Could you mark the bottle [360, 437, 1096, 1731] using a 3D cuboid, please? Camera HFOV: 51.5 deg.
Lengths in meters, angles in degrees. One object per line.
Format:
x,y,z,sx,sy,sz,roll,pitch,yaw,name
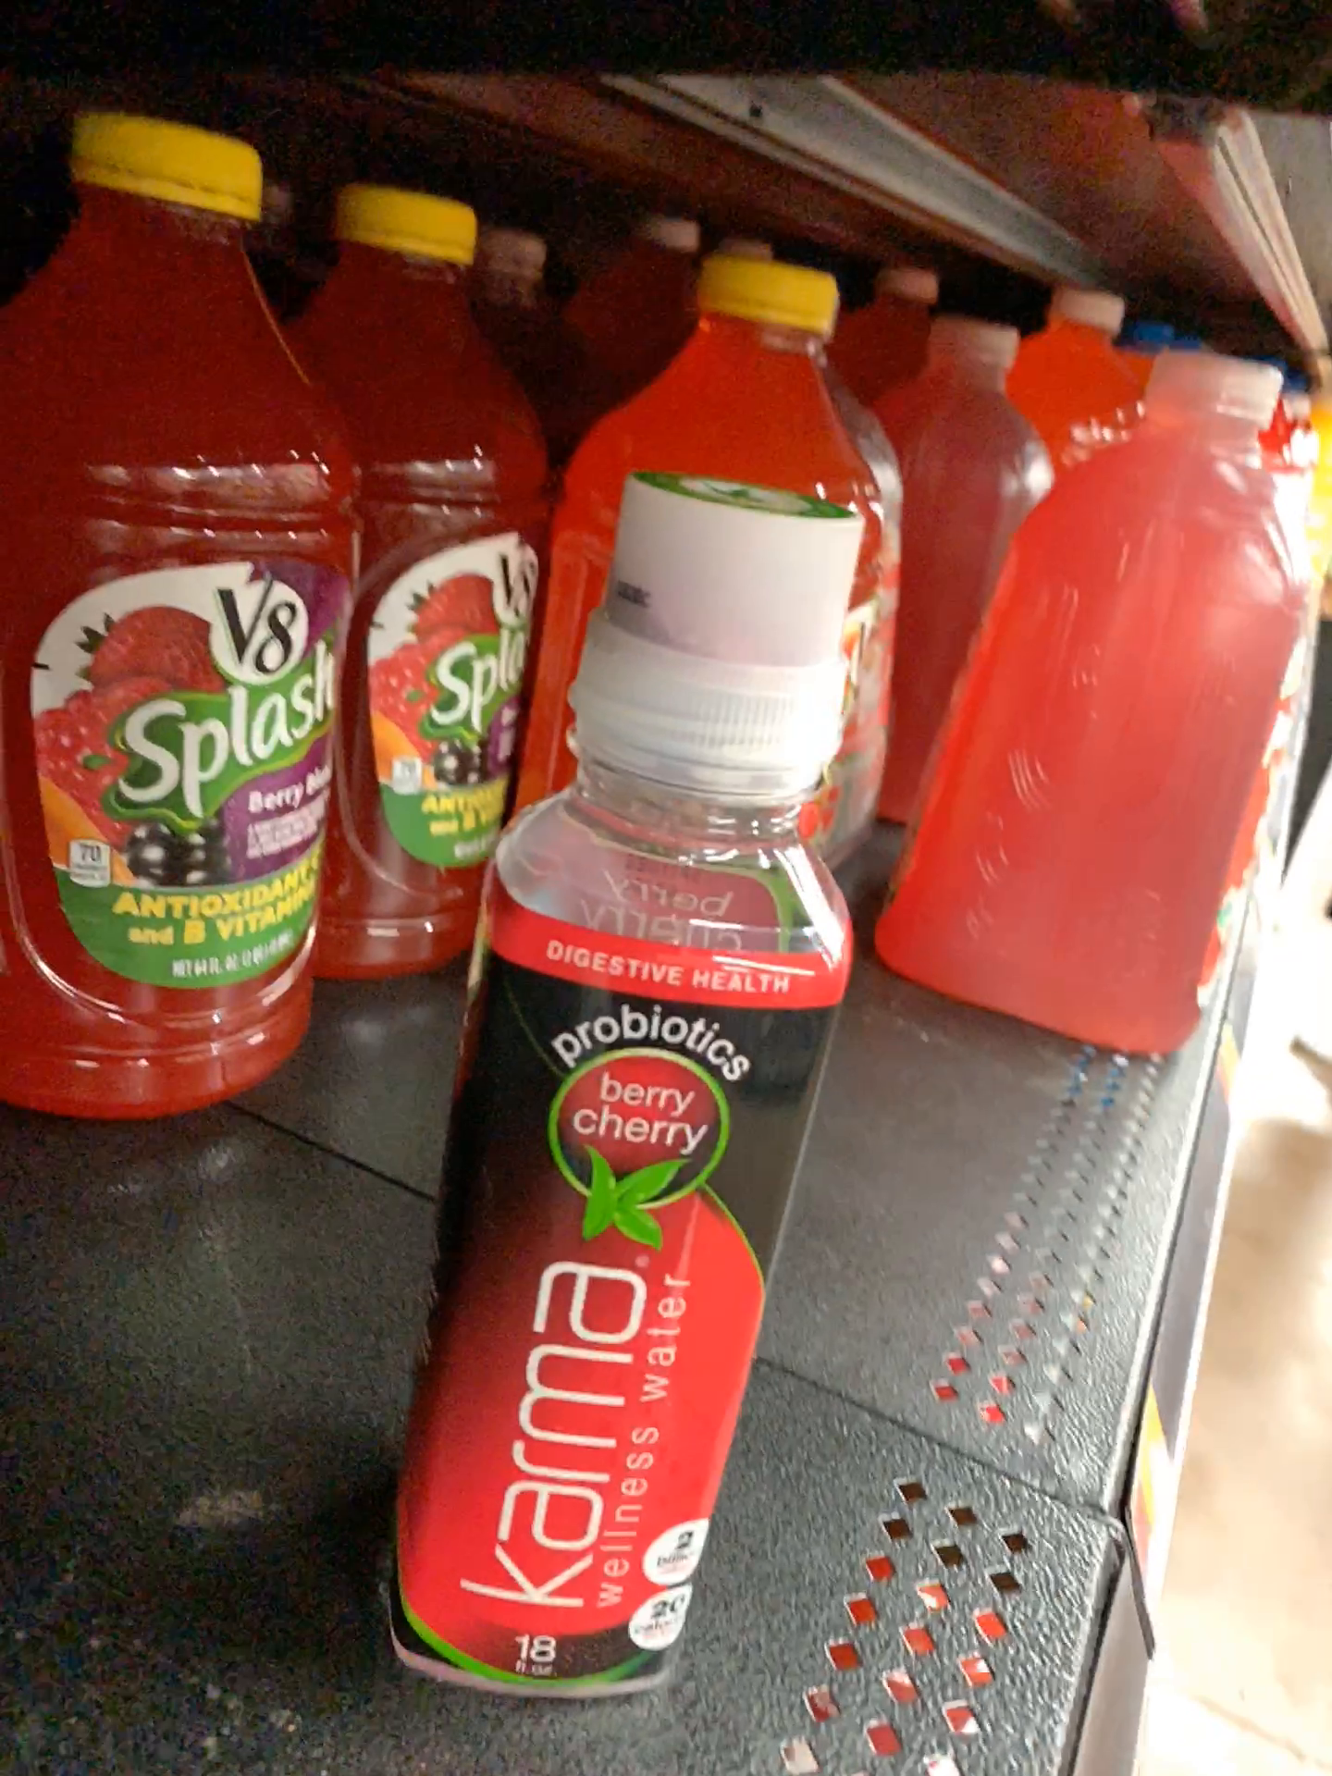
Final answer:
-0.002,0.040,0.240,0.068,0.209,0.070,10,23,-4,bottle
